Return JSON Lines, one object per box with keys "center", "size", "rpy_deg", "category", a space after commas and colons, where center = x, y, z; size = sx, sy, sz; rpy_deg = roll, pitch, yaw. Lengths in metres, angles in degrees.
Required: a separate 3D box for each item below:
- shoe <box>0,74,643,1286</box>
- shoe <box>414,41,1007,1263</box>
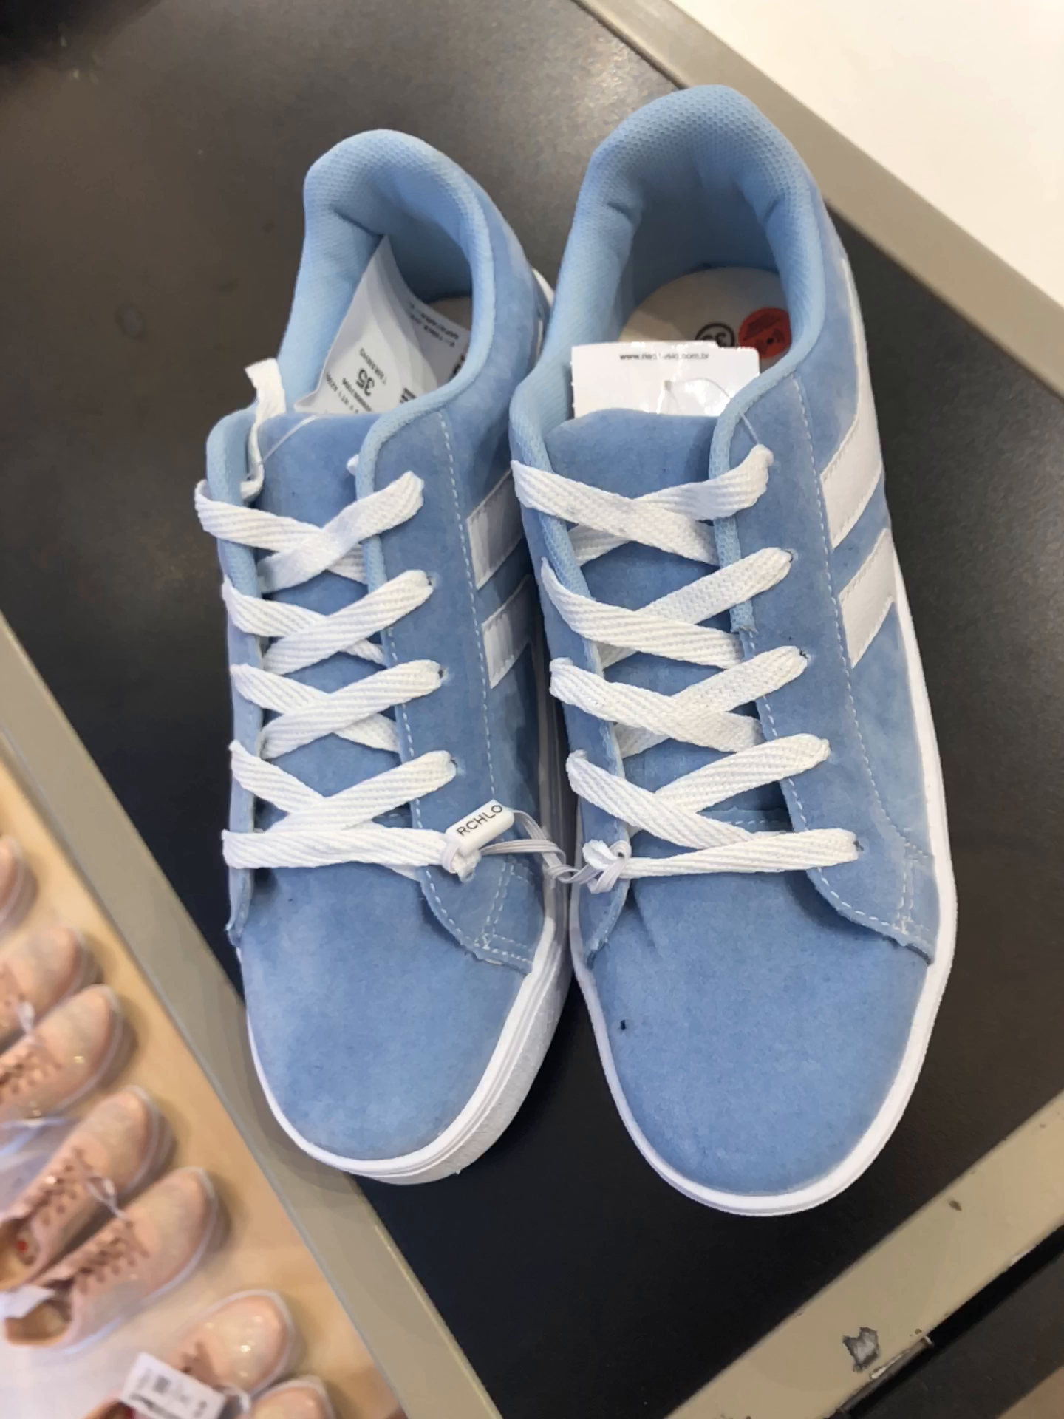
{"center": [-0.036, -0.005, 0.295], "size": [0.100, 0.120, 0.240], "rpy_deg": [-2, 74, 16], "category": "shoe"}
{"center": [0.043, -0.008, 0.290], "size": [0.100, 0.120, 0.240], "rpy_deg": [-5, 73, 15], "category": "shoe"}
